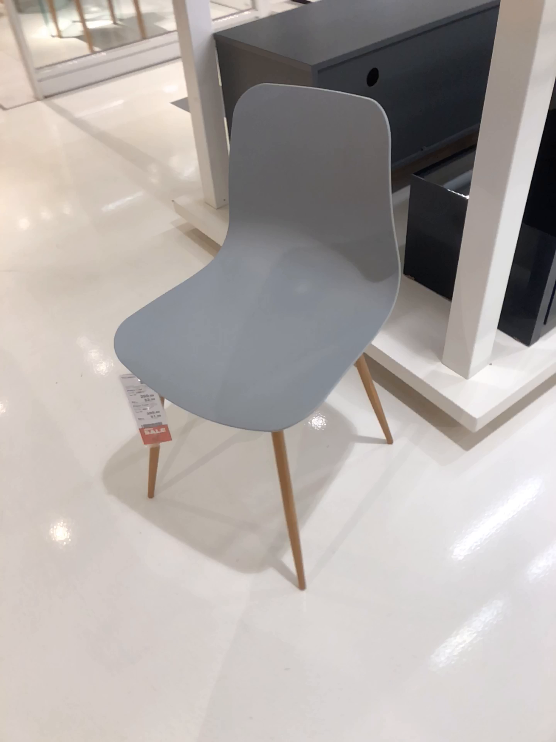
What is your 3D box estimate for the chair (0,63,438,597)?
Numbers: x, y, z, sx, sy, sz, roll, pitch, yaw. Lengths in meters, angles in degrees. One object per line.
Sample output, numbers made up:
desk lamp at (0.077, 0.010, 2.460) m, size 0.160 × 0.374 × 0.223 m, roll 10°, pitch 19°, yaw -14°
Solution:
chair at (-0.047, -0.064, 1.188) m, size 0.471 × 0.814 × 0.472 m, roll 23°, pitch 50°, yaw 27°
